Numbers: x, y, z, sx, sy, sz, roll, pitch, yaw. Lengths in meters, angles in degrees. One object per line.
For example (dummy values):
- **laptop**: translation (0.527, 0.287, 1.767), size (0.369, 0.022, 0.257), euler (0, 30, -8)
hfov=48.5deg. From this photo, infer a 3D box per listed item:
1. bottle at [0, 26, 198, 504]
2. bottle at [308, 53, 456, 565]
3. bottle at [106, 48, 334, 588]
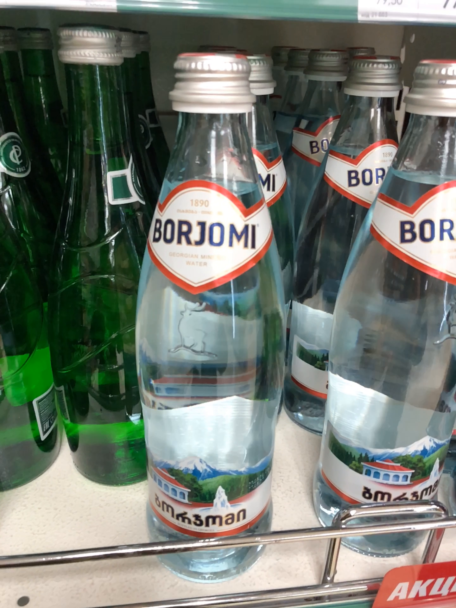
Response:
- **bottle**: translation (-0.064, -0.015, 0.279), size (0.065, 0.237, 0.069), euler (1, 25, -1)
- **bottle**: translation (0.087, 0.013, 0.243), size (0.069, 0.236, 0.065), euler (1, 25, -1)
- **bottle**: translation (-0.004, 0.018, 0.229), size (0.068, 0.236, 0.063), euler (1, 25, -1)
